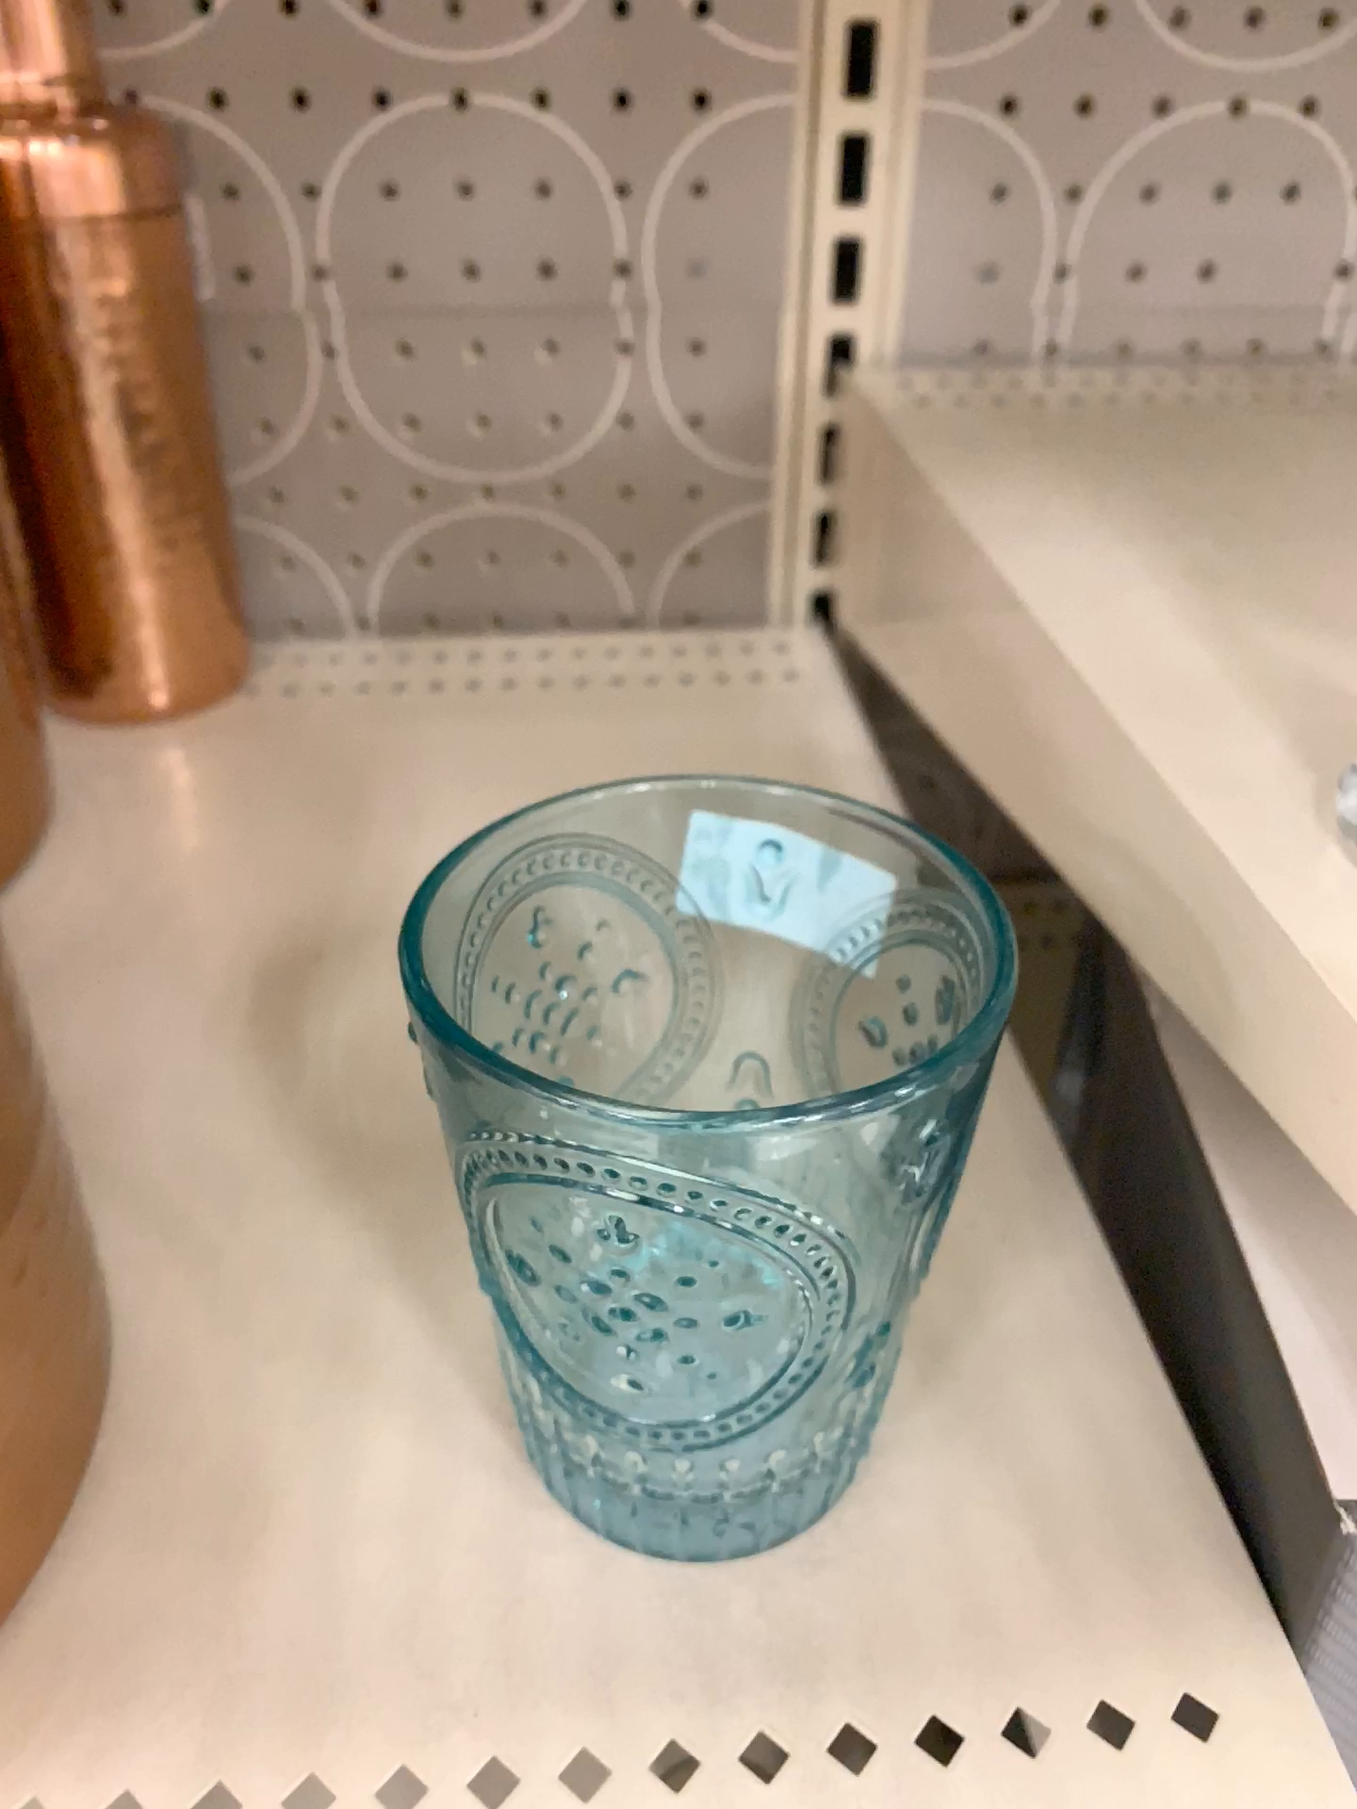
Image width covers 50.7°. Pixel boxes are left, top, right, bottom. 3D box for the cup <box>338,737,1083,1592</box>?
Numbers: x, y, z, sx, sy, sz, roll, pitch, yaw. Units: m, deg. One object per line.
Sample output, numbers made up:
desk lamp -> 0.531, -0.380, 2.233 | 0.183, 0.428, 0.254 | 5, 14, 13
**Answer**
cup -> 0.001, 0.035, 0.207 | 0.078, 0.091, 0.076 | 0, 35, 0
